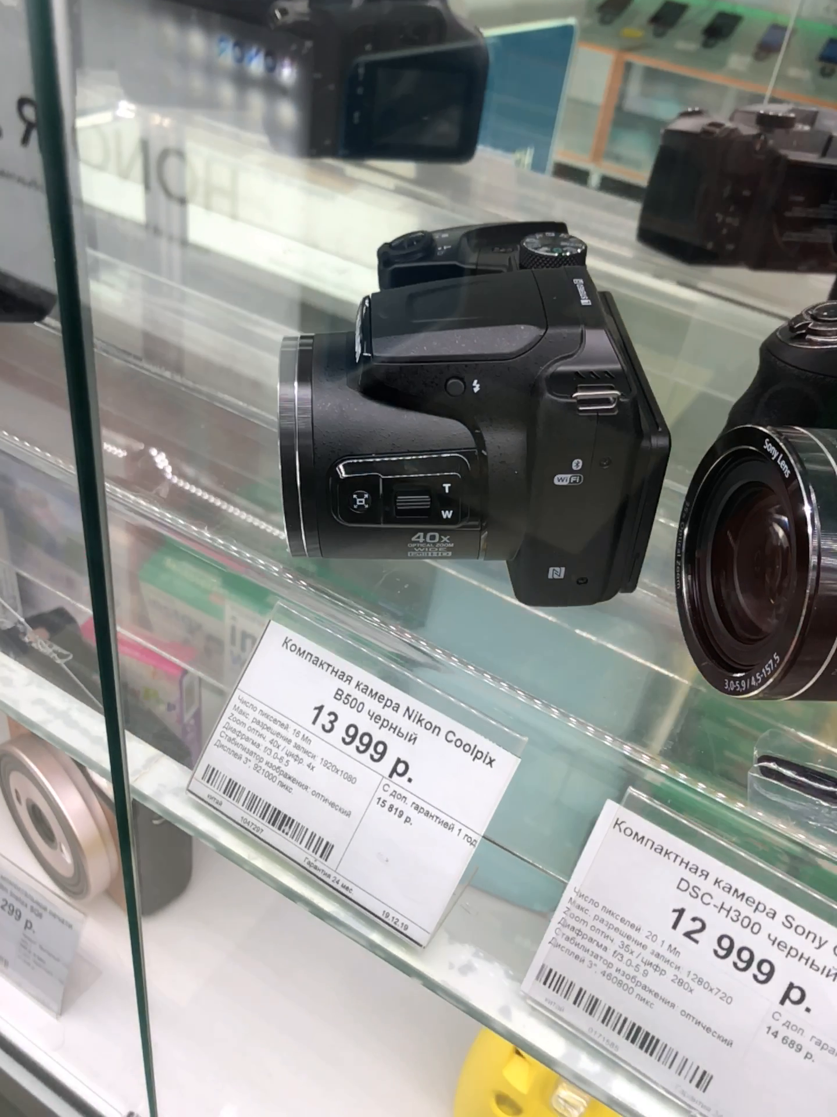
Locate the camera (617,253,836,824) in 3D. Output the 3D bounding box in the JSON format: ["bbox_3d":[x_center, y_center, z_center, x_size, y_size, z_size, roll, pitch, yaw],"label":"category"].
[{"bbox_3d":[0.119,-0.011,0.228,0.098,0.084,0.115,0,36,-7],"label":"camera"}]

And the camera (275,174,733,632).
[{"bbox_3d":[0.011,-0.047,0.267,0.098,0.080,0.110,2,38,-9],"label":"camera"}]
